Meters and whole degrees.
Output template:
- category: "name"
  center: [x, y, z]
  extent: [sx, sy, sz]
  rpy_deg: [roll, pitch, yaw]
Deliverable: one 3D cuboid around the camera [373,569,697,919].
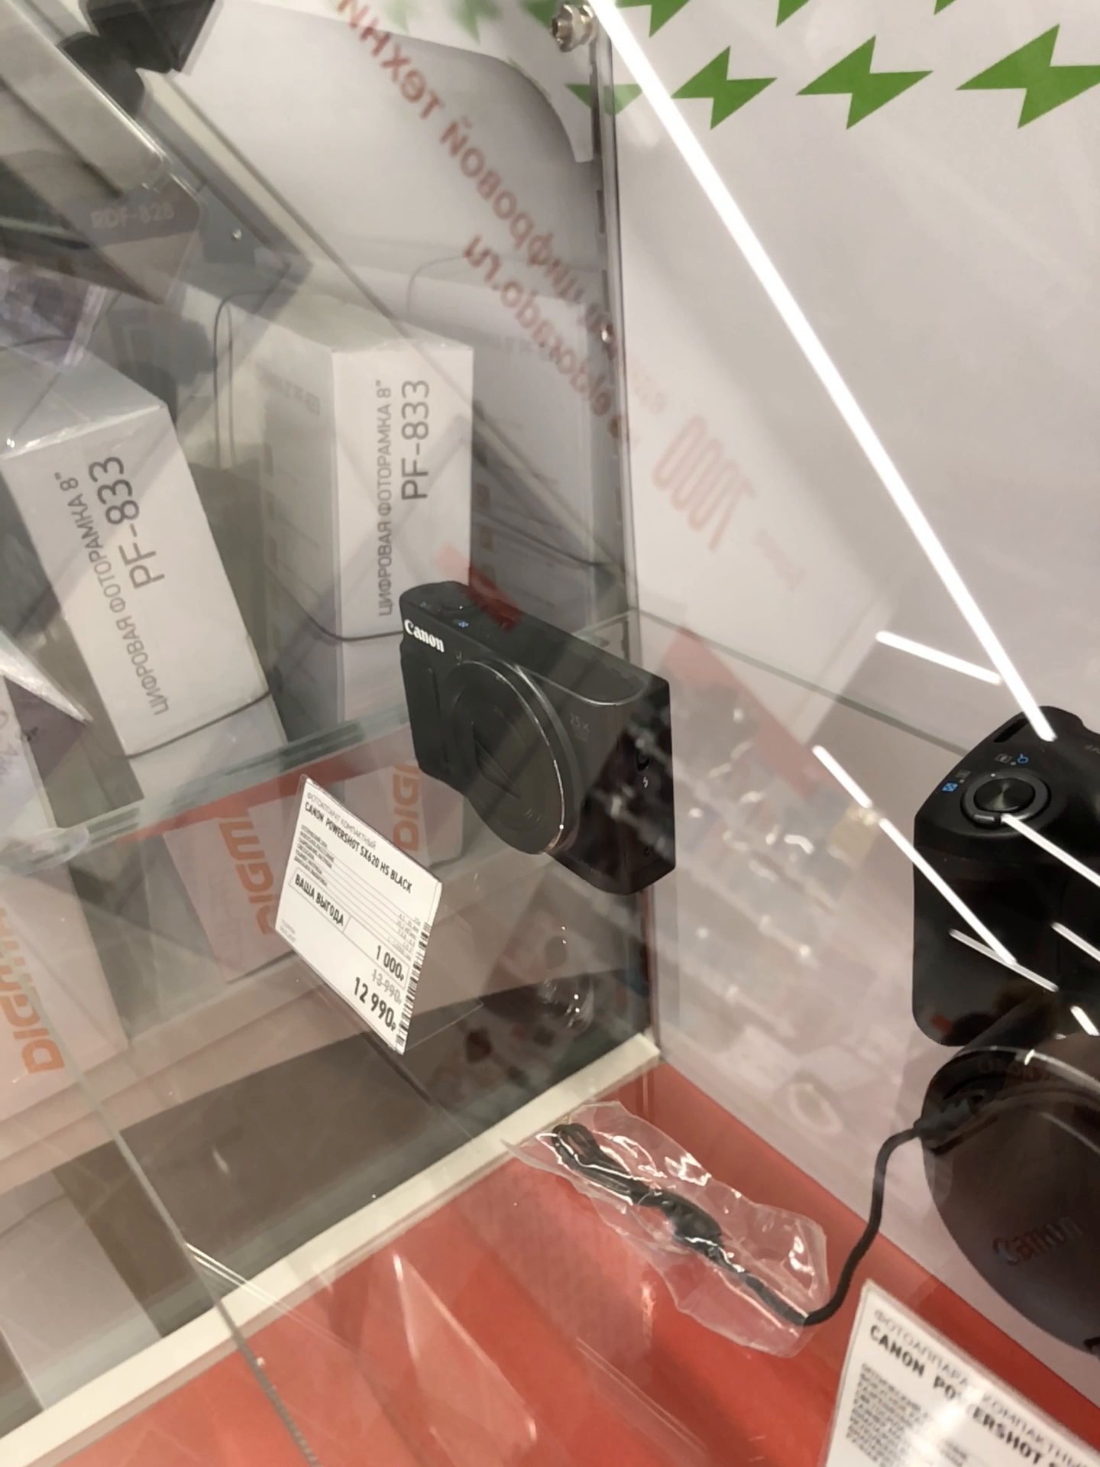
- category: "camera"
  center: [-0.006, -0.002, 0.326]
  extent: [0.030, 0.055, 0.098]
  rpy_deg: [-23, 34, -29]
